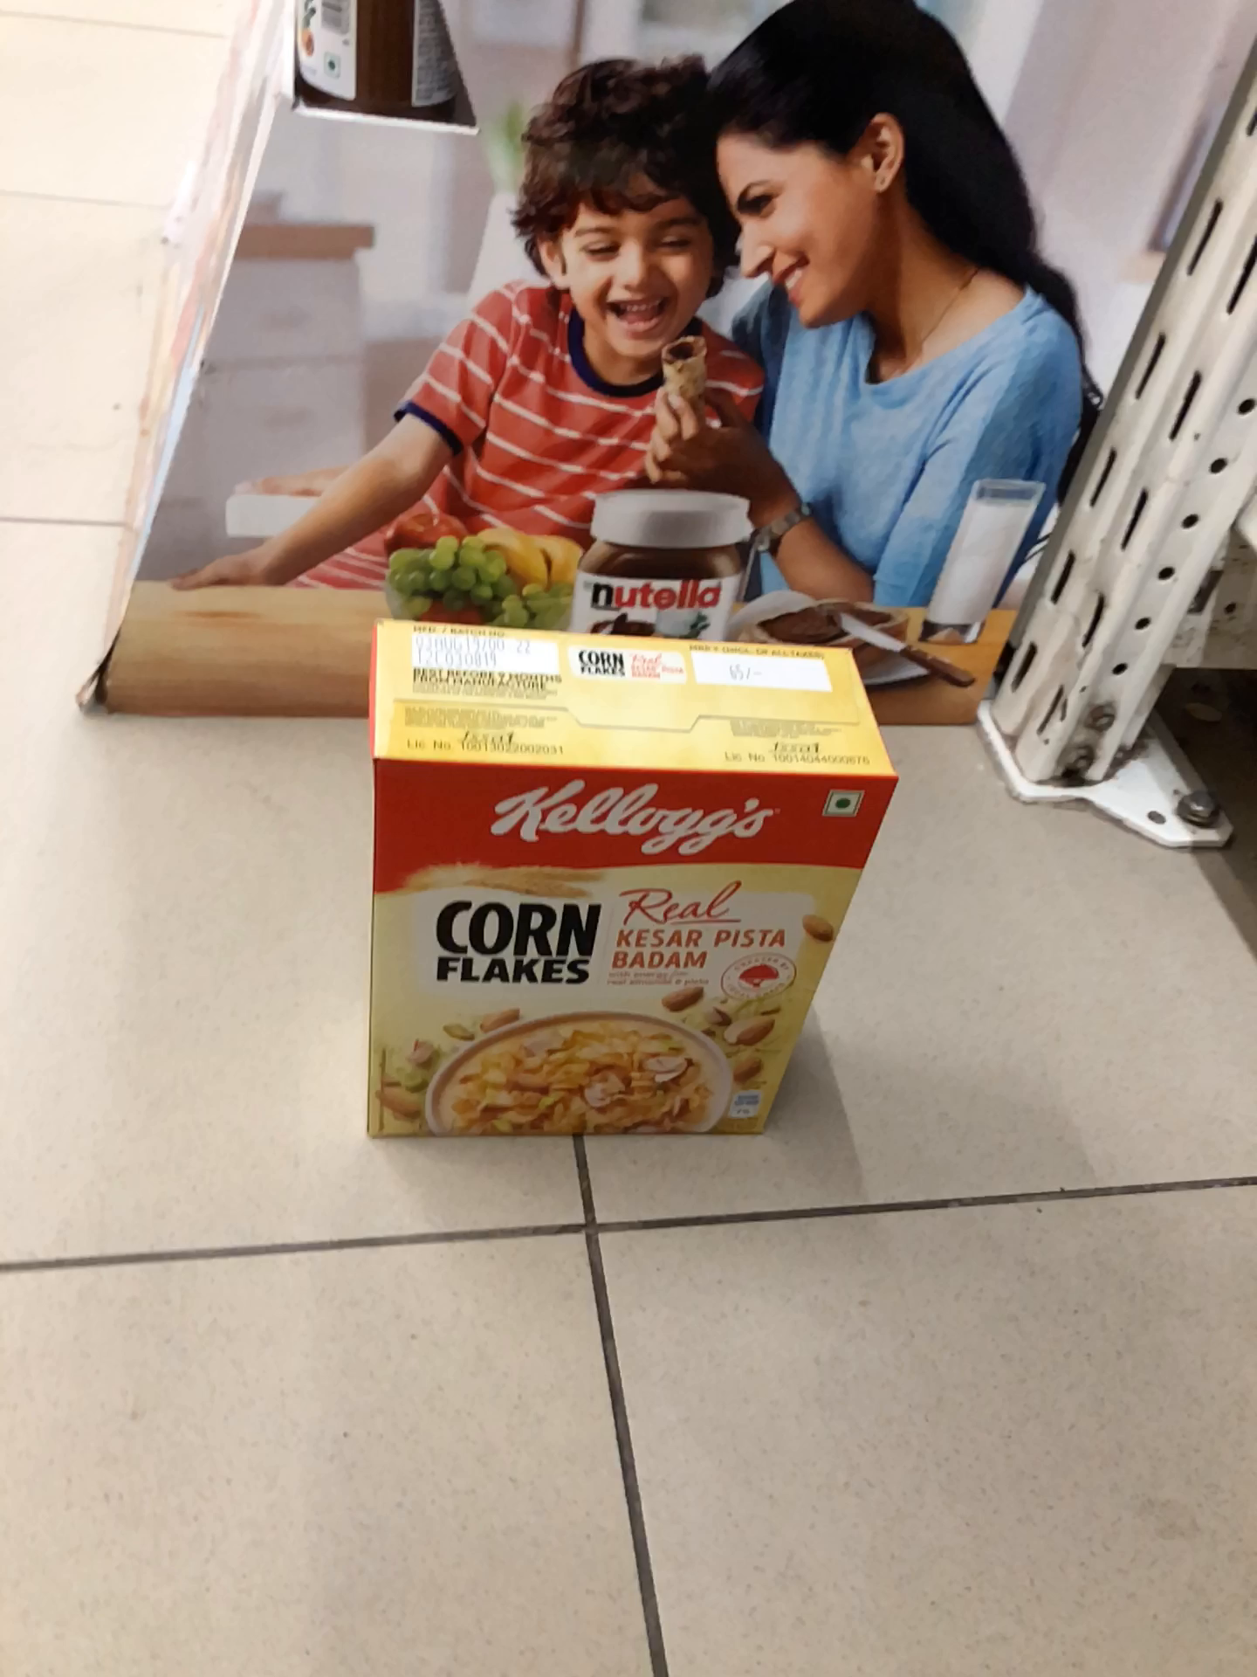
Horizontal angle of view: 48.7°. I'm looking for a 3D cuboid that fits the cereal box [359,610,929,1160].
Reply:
[{"bbox_3d":[-0.008,0.021,0.421,0.140,0.169,0.060,0,44,-12],"label":"cereal box"}]
